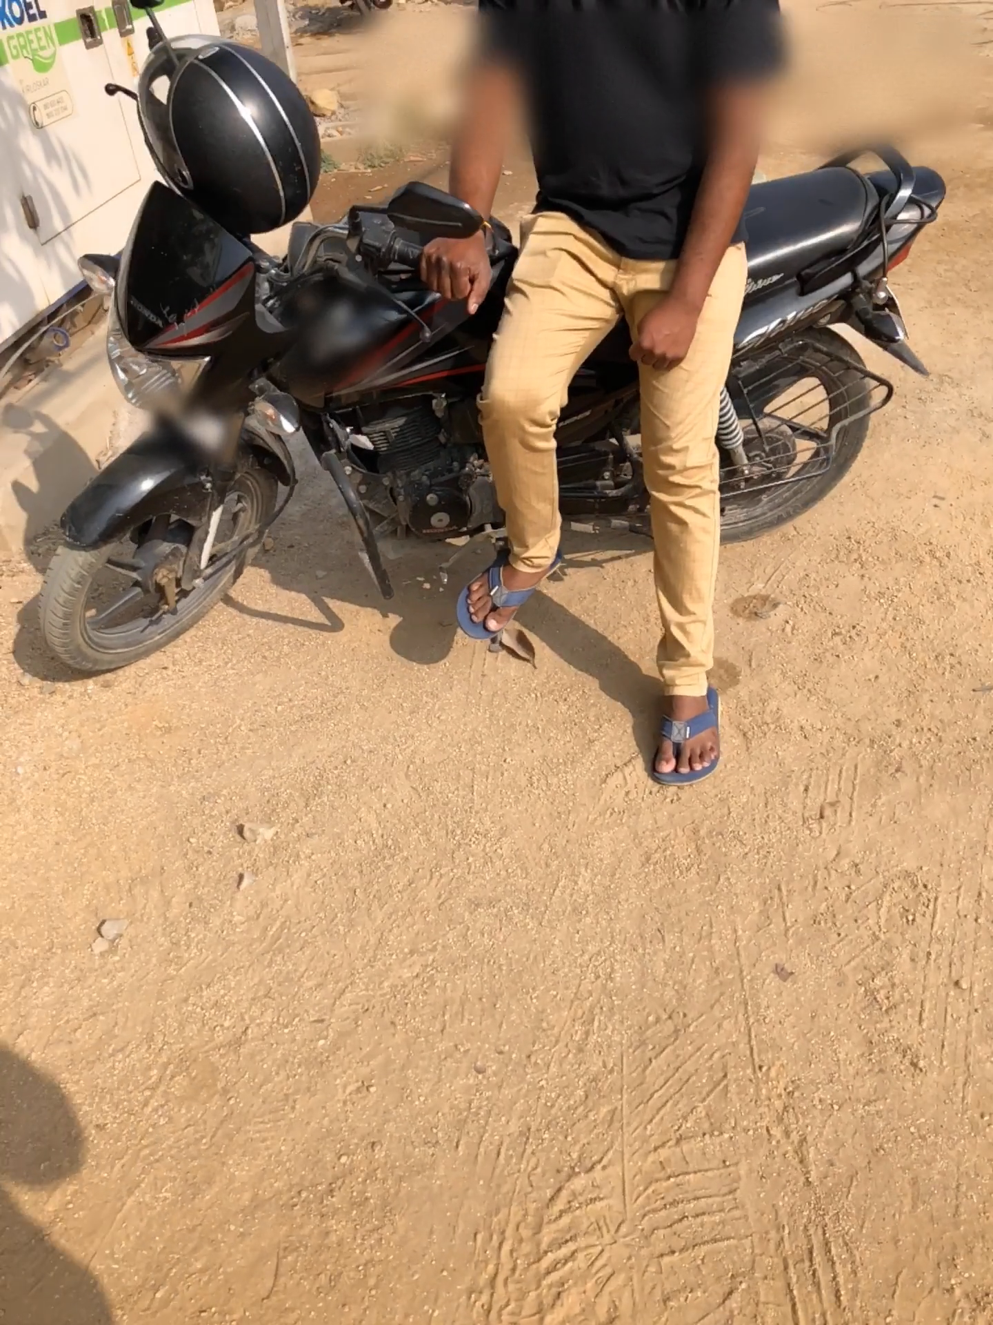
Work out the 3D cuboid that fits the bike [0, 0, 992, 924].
[{"bbox_3d":[-0.041,-0.524,1.995,1.694,1.214,0.882,-16,36,-14],"label":"bike"}]
